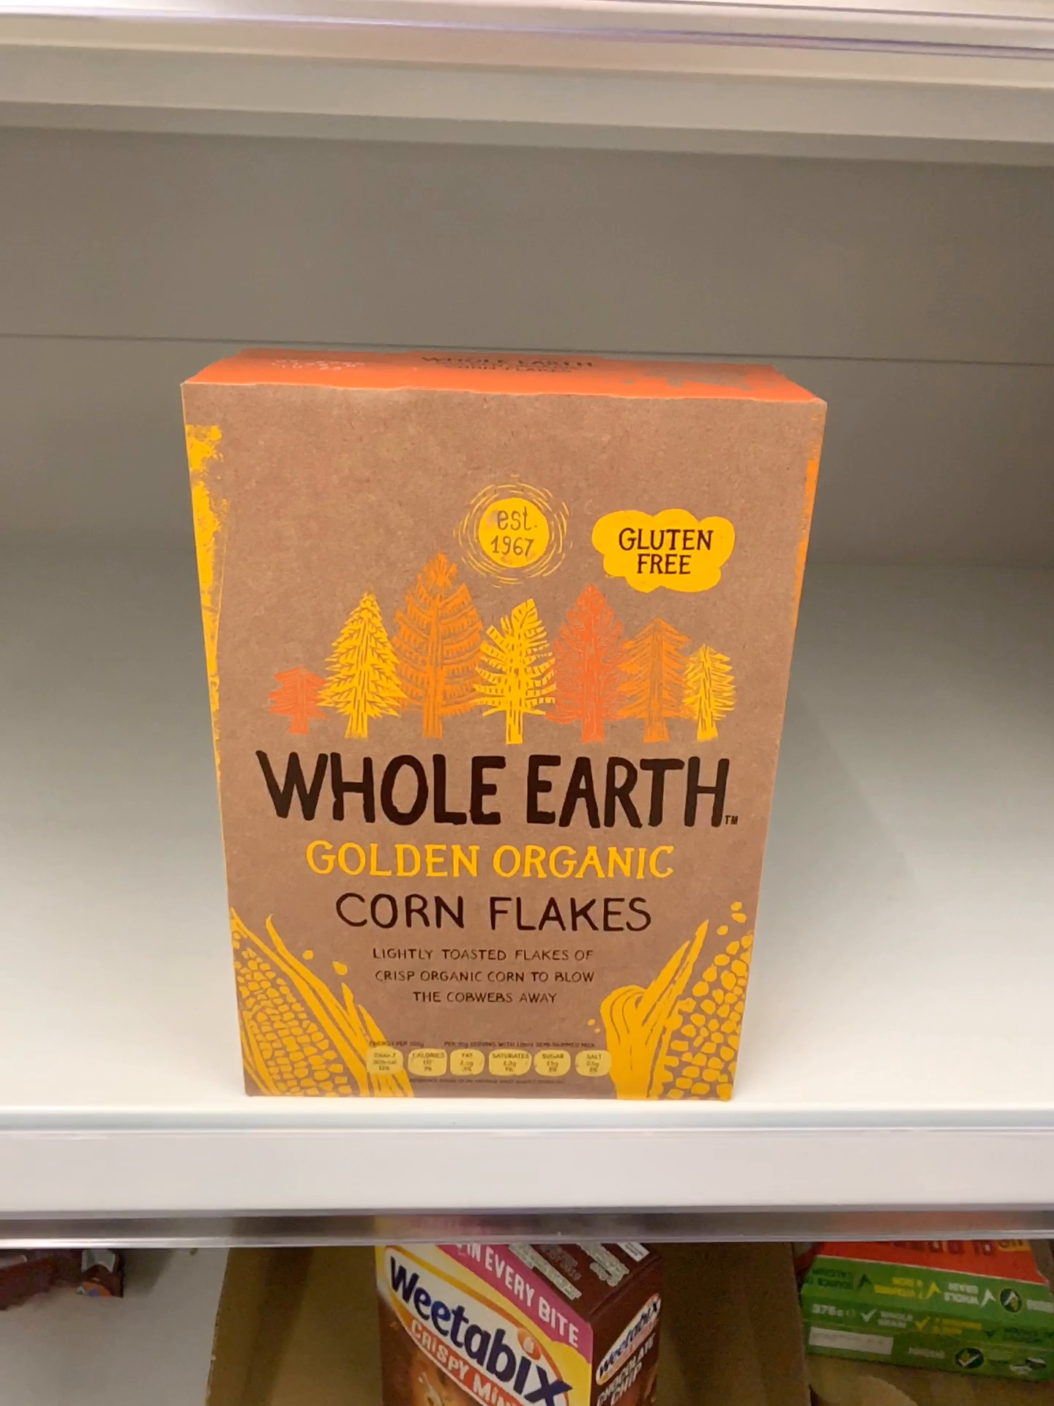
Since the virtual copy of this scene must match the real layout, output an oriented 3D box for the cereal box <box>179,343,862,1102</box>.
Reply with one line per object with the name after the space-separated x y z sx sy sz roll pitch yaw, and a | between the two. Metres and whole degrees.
-0.006 0.012 0.412 0.200 0.268 0.091 1 23 -2 | cereal box
